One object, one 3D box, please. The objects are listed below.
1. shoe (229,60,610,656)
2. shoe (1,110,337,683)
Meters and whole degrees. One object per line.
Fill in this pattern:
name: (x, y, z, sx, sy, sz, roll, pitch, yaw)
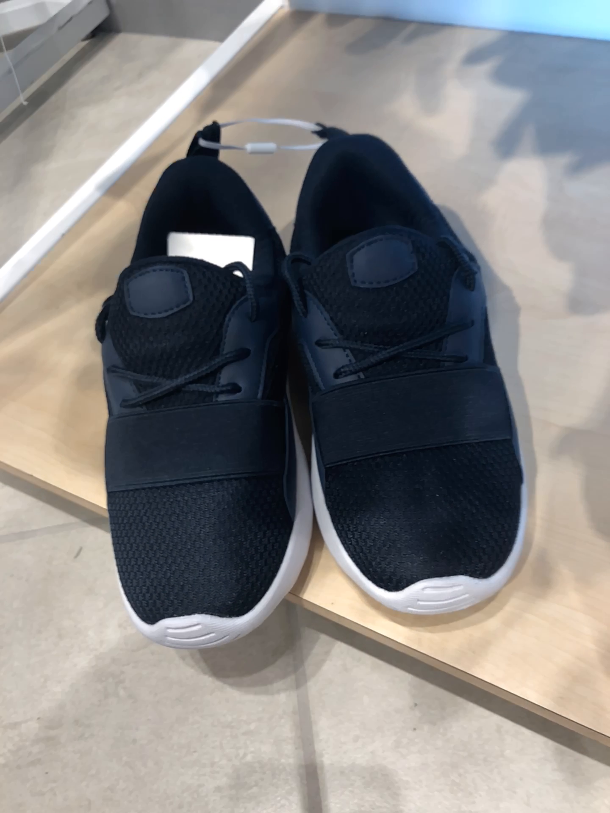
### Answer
shoe: (0.034, -0.034, 0.301, 0.100, 0.100, 0.241, -11, 53, 3)
shoe: (-0.039, -0.015, 0.309, 0.090, 0.100, 0.241, -5, 54, 7)
